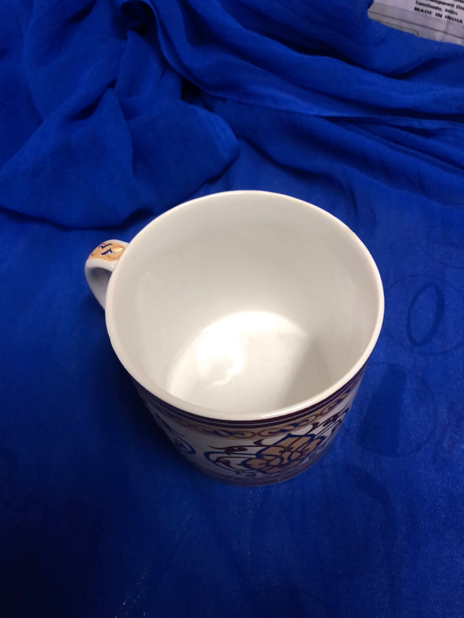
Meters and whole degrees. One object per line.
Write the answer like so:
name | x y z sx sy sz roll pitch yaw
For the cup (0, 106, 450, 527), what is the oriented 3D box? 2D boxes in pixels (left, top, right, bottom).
cup | -0.005 0.004 0.183 0.110 0.080 0.080 27 64 14
